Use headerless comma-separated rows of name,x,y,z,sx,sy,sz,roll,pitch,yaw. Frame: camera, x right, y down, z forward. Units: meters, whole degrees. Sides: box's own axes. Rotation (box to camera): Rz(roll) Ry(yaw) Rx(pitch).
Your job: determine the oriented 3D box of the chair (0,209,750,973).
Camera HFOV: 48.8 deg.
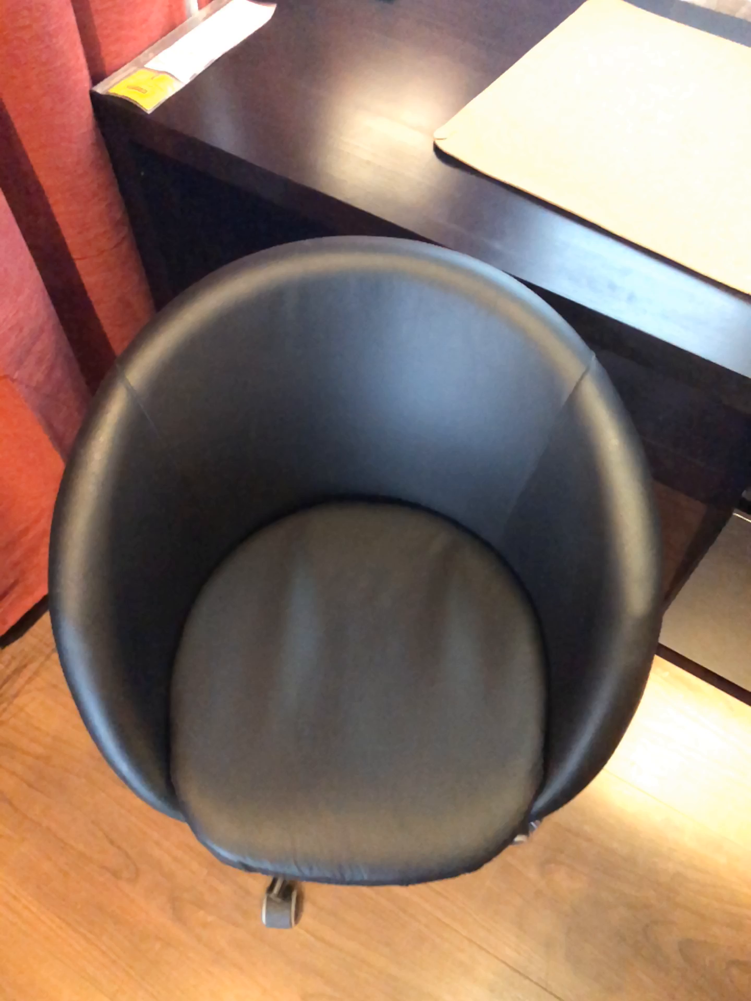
chair,-0.009,0.165,0.919,0.630,0.697,0.573,-3,58,-1
